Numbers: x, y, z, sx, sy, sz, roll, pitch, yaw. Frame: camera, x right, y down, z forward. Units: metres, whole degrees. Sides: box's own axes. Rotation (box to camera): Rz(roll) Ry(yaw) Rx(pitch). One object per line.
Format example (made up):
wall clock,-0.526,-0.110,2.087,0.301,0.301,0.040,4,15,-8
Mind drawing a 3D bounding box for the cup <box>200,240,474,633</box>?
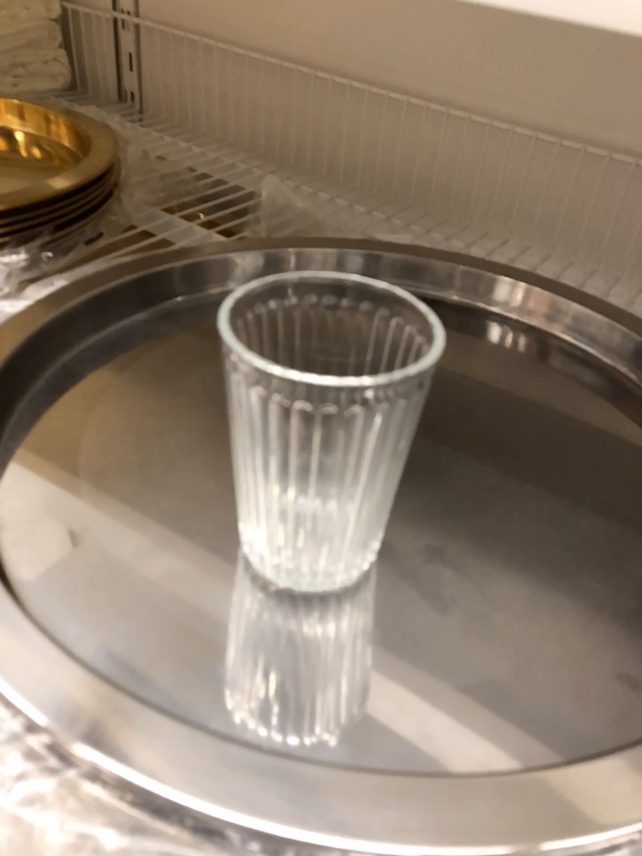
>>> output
cup,0.006,0.002,0.233,0.070,0.100,0.070,3,36,-2
